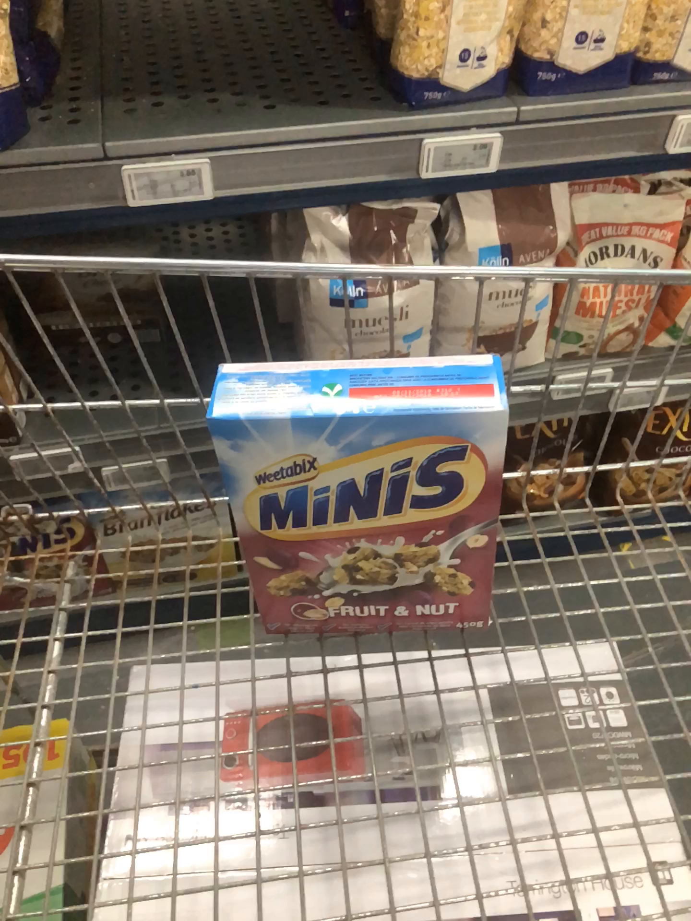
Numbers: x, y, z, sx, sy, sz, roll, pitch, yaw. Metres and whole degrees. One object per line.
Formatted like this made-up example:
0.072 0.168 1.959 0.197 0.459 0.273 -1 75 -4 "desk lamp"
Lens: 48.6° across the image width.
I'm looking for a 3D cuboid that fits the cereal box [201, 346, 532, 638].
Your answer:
0.021 0.040 0.629 0.220 0.259 0.080 -2 46 3 "cereal box"
